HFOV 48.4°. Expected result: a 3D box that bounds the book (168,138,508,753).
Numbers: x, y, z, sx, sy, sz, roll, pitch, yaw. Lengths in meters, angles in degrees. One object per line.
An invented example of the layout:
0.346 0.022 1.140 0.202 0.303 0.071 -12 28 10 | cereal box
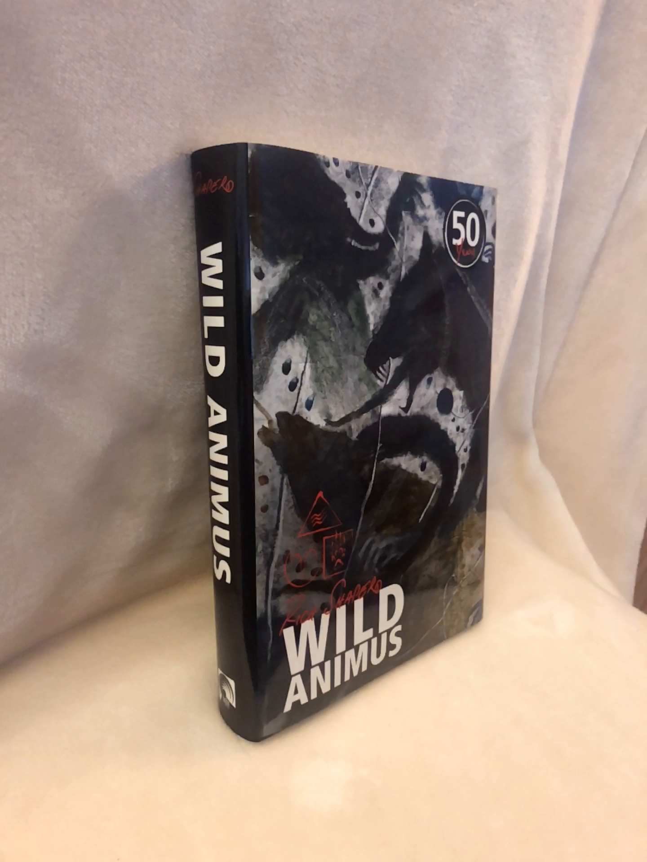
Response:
0.019 -0.001 0.322 0.043 0.217 0.164 7 12 45 | book
